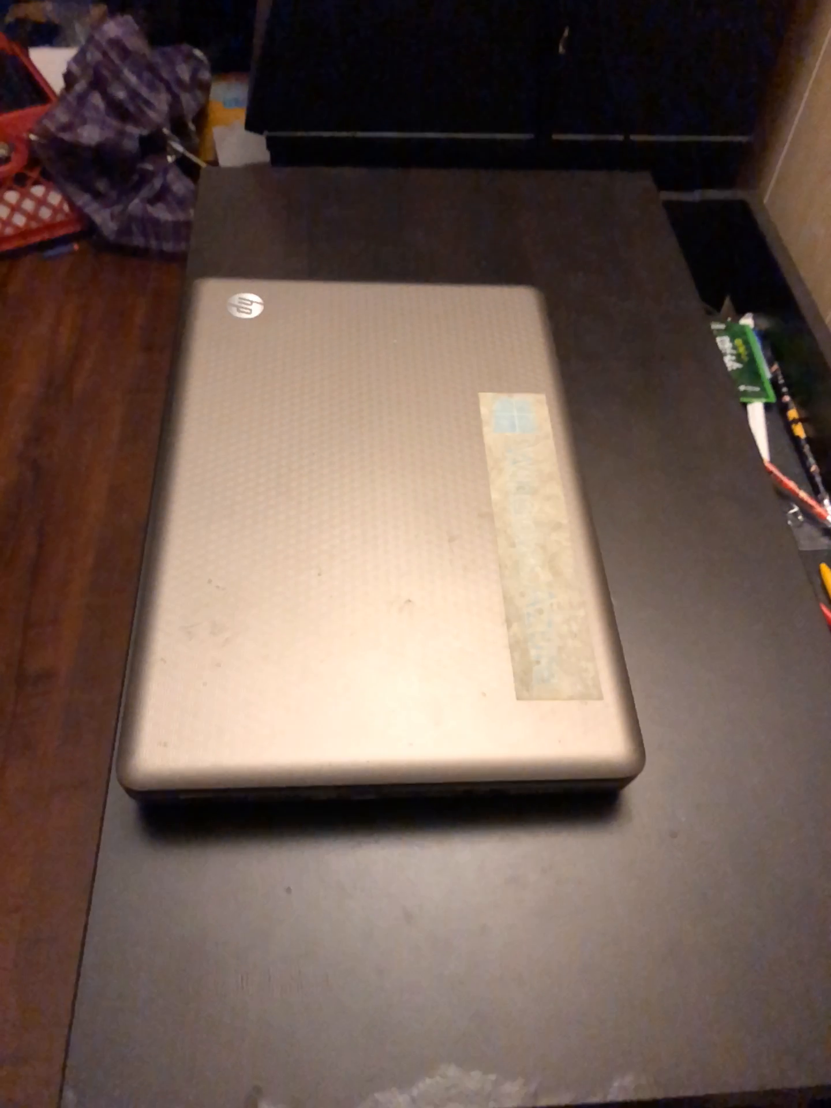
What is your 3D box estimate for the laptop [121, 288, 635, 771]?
[{"bbox_3d":[-0.024,-0.043,0.532,0.237,0.001,0.359,-1,52,-4],"label":"laptop"}]
